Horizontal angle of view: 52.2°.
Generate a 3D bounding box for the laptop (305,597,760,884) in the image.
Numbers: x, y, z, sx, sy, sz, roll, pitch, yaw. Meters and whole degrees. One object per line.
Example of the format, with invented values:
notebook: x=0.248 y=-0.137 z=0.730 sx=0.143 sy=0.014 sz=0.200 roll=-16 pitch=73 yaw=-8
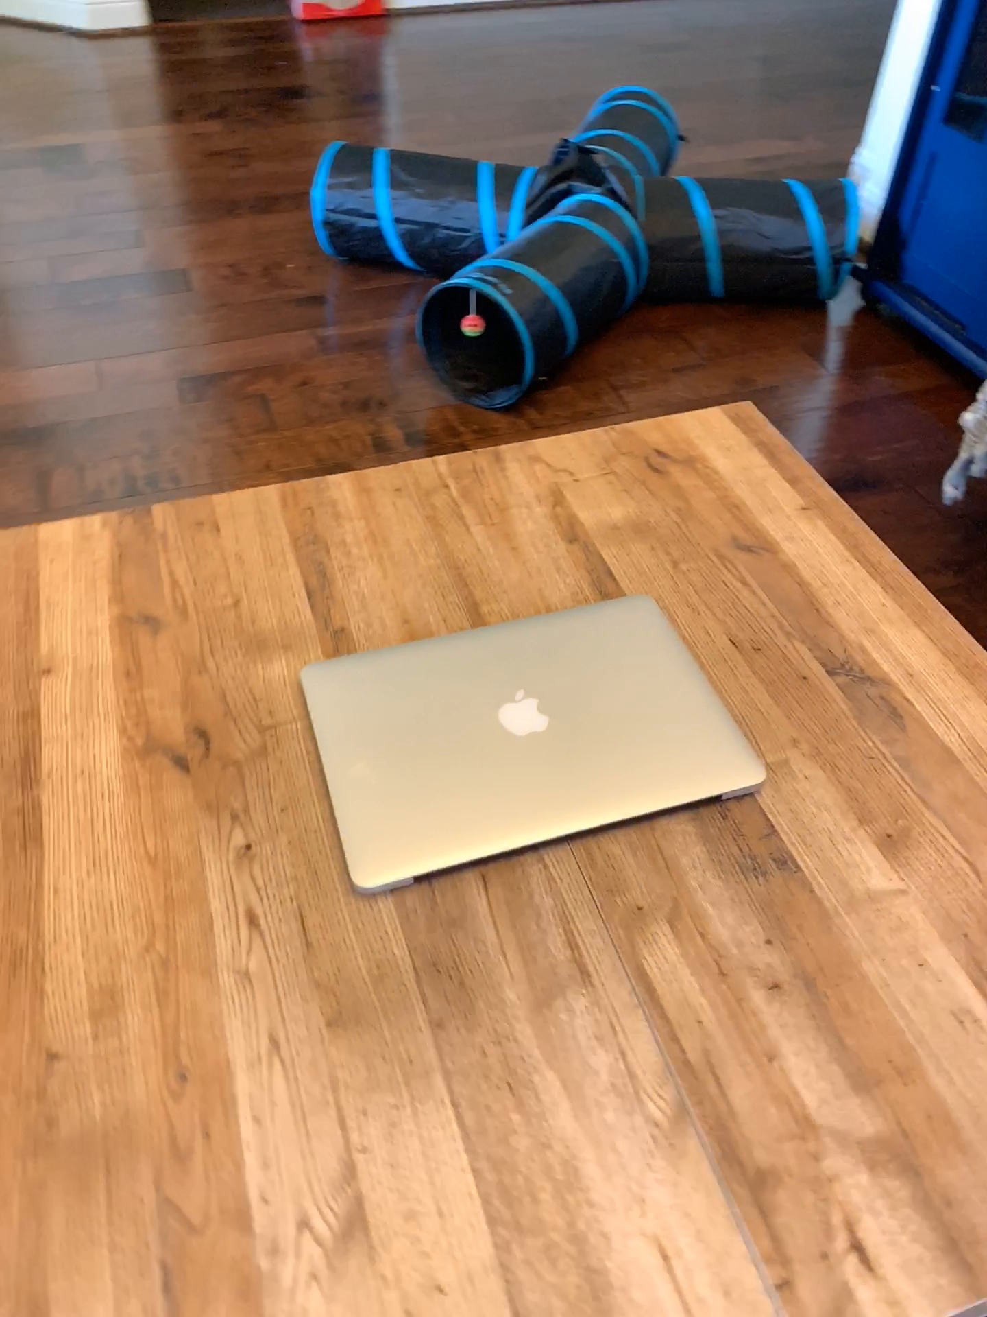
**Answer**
laptop: x=0.022 y=0.048 z=0.771 sx=0.298 sy=0.002 sz=0.208 roll=-12 pitch=46 yaw=-13
